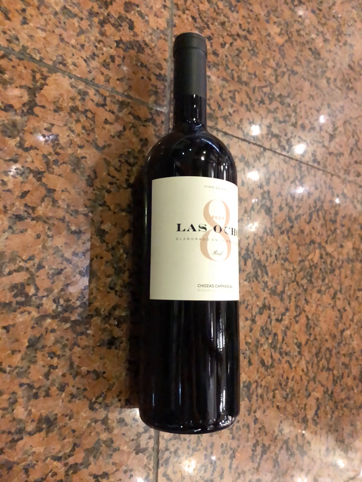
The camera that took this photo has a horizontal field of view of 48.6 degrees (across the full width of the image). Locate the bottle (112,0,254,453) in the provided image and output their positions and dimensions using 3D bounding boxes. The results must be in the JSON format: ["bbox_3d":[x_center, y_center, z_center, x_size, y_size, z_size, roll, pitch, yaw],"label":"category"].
[{"bbox_3d":[0.003,-0.031,0.321,0.080,0.070,0.340,6,82,-39],"label":"bottle"}]
